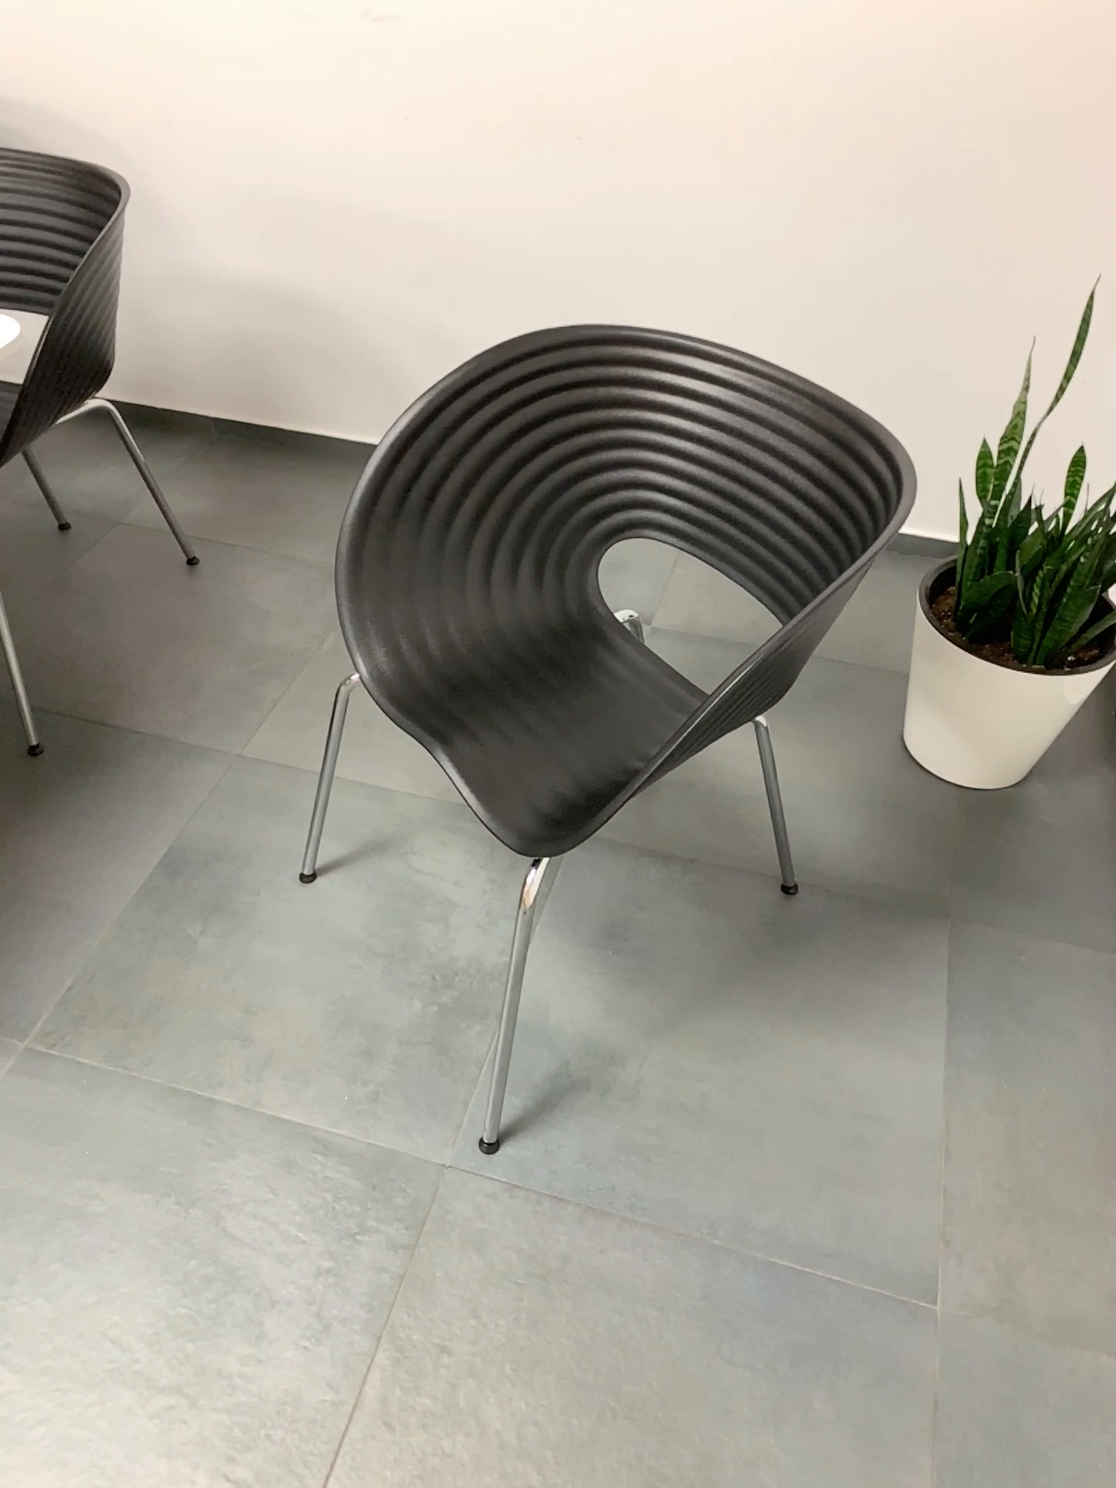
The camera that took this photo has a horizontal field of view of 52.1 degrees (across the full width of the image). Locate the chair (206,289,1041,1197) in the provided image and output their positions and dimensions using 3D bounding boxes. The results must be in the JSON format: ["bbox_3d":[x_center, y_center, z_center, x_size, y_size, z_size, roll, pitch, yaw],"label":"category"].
[{"bbox_3d":[0.037,-0.031,1.495,0.641,0.796,0.652,-23,48,-26],"label":"chair"}]
